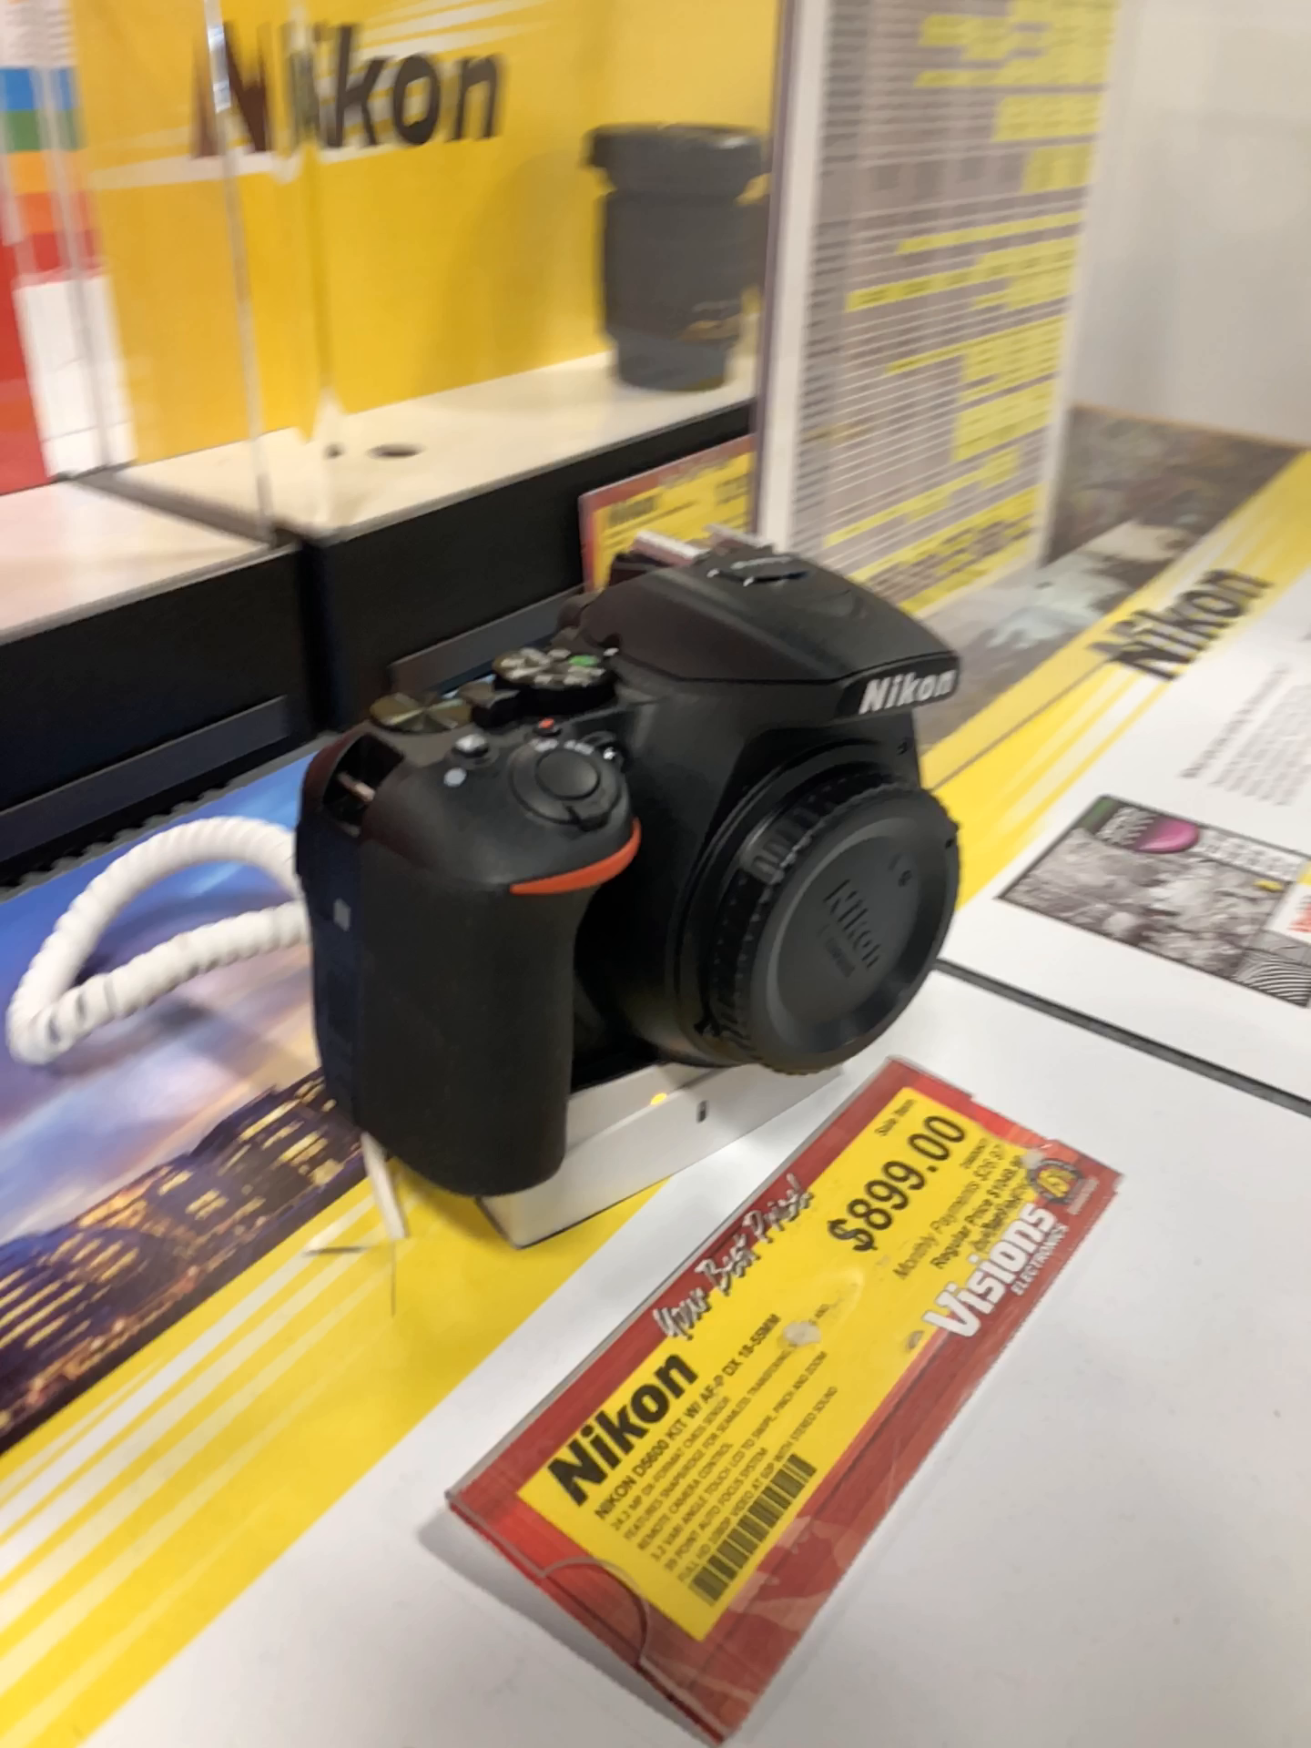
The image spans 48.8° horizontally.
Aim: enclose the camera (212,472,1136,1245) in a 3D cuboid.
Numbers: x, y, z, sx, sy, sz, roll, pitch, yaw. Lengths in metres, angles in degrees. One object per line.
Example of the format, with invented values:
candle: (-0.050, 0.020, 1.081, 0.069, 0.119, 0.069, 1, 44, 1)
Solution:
camera: (0.005, -0.016, 0.268, 0.140, 0.089, 0.080, -17, 32, -35)
